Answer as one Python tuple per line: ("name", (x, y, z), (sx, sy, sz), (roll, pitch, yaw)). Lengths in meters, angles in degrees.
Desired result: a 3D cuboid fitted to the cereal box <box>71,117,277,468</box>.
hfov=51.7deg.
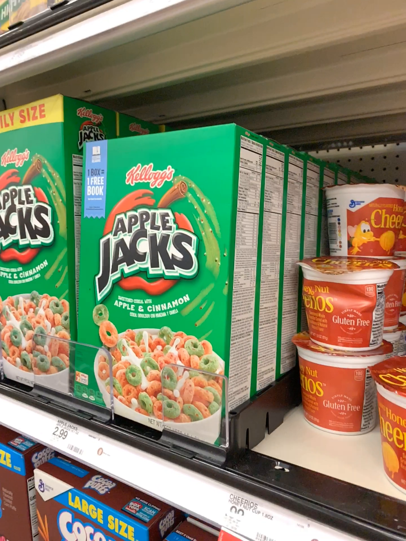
("cereal box", (-0.038, 0.013, 0.424), (0.200, 0.290, 0.060), (5, 3, 33))
